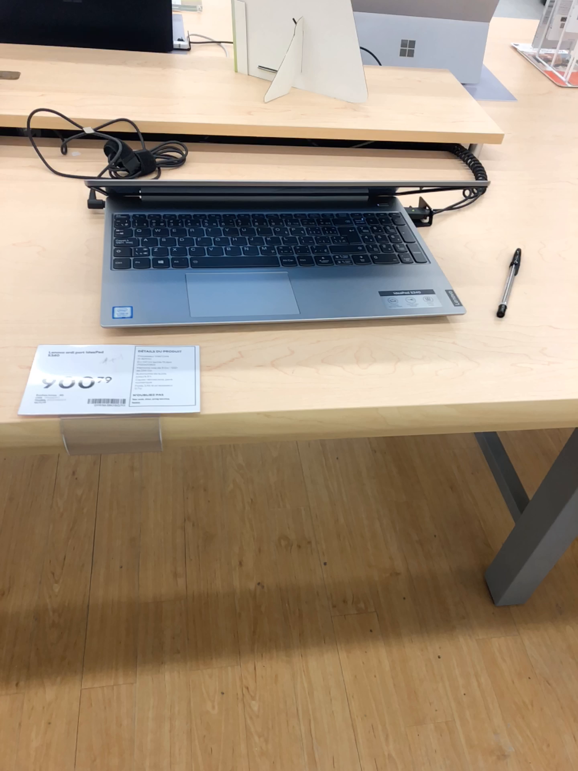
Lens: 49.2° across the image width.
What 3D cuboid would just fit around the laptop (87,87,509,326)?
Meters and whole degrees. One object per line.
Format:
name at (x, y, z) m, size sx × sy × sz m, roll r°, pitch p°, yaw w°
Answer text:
laptop at (-0.010, -0.188, 0.637) m, size 0.351 × 0.122 × 0.235 m, roll -3°, pitch 45°, yaw -11°
